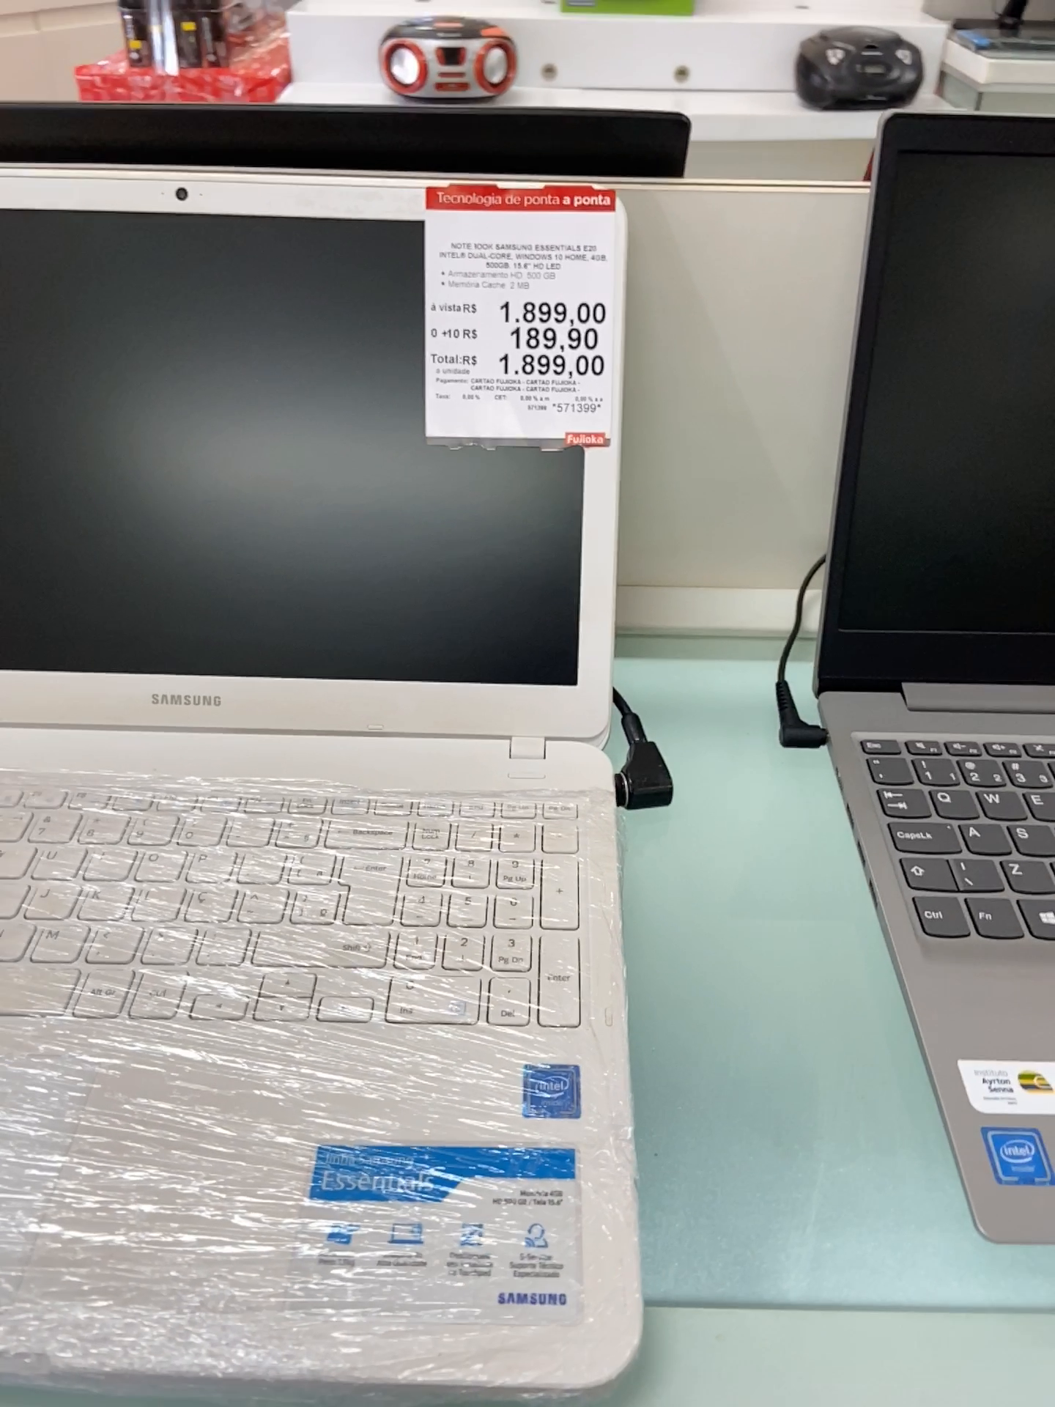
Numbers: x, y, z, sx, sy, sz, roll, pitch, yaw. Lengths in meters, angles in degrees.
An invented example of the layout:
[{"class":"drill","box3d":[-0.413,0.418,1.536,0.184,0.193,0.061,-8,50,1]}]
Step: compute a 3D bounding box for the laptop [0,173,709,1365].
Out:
[{"class":"laptop","box3d":[-0.153,-0.025,0.378,0.375,0.192,0.383,2,40,1]}]
